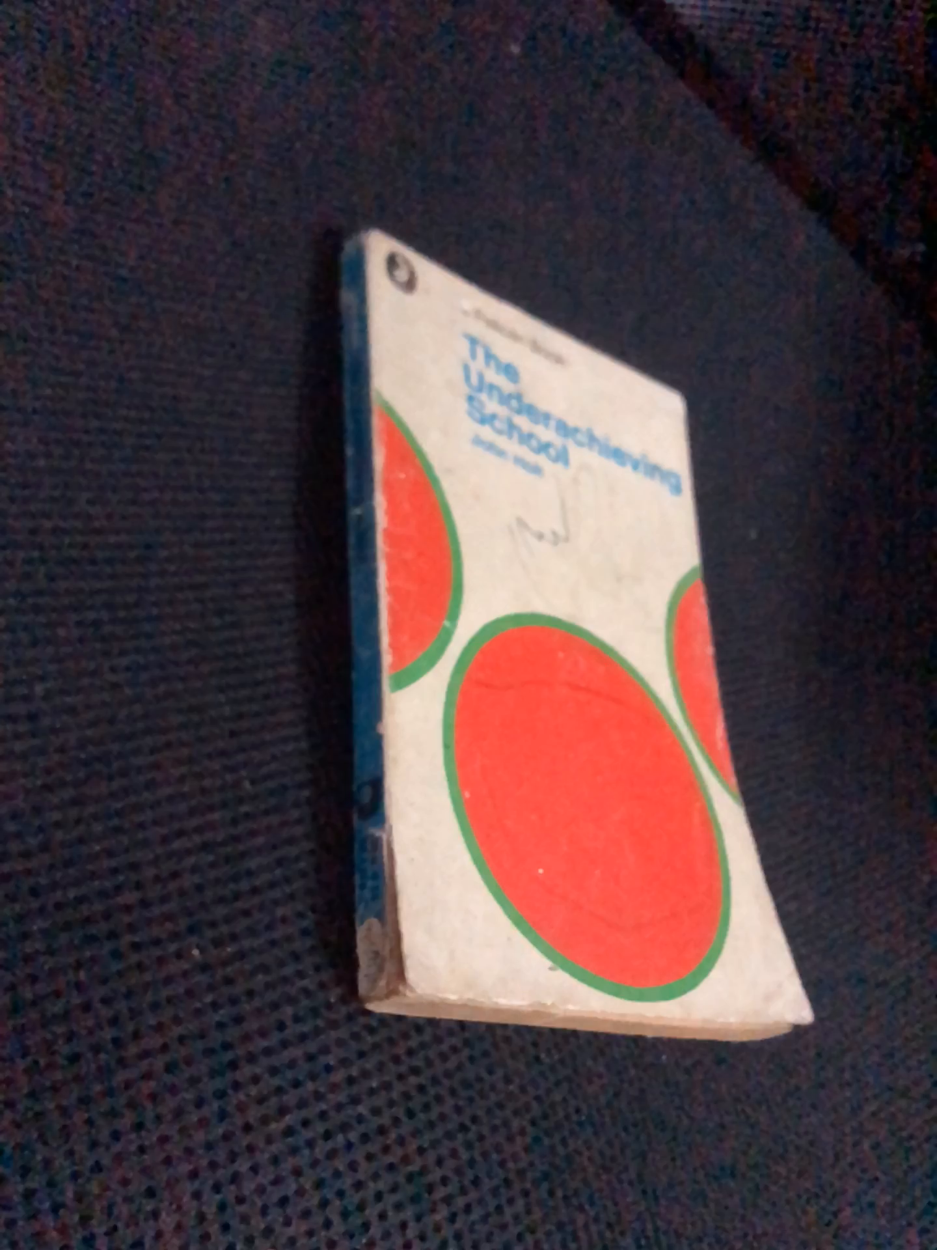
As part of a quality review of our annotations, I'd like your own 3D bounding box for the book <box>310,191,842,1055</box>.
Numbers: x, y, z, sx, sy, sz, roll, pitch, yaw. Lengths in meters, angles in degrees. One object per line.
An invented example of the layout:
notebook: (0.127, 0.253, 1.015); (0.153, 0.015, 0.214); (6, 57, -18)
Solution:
book: (0.021, -0.001, 0.242); (0.121, 0.020, 0.182); (19, 53, -35)
